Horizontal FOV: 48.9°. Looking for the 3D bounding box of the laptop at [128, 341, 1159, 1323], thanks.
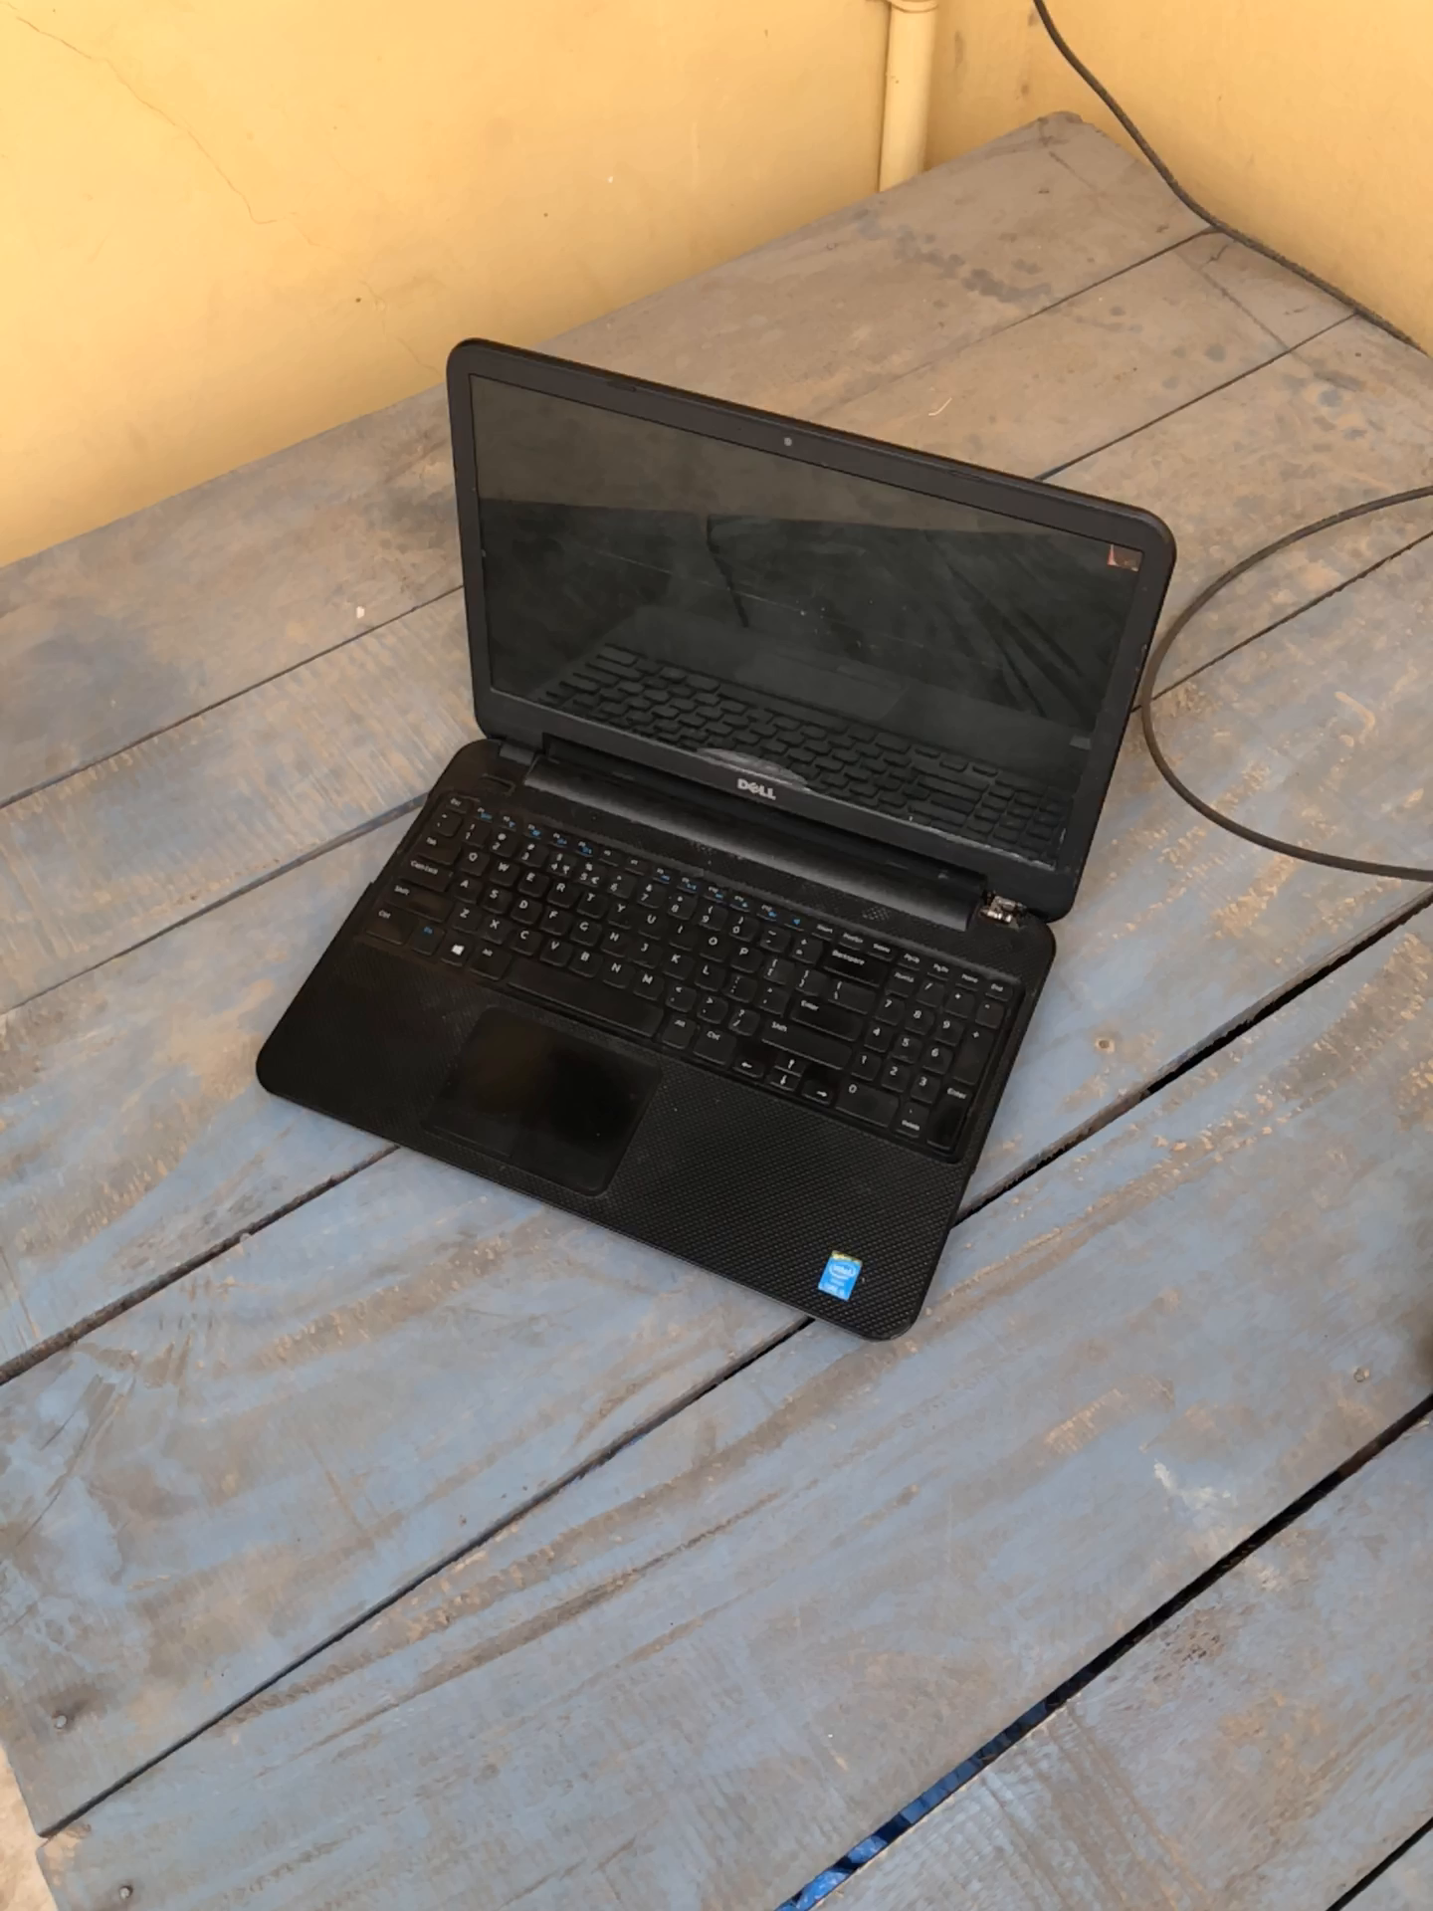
[{"bbox_3d":[-0.017,-0.066,0.747,0.331,0.215,0.307,19,61,15],"label":"laptop"}]
